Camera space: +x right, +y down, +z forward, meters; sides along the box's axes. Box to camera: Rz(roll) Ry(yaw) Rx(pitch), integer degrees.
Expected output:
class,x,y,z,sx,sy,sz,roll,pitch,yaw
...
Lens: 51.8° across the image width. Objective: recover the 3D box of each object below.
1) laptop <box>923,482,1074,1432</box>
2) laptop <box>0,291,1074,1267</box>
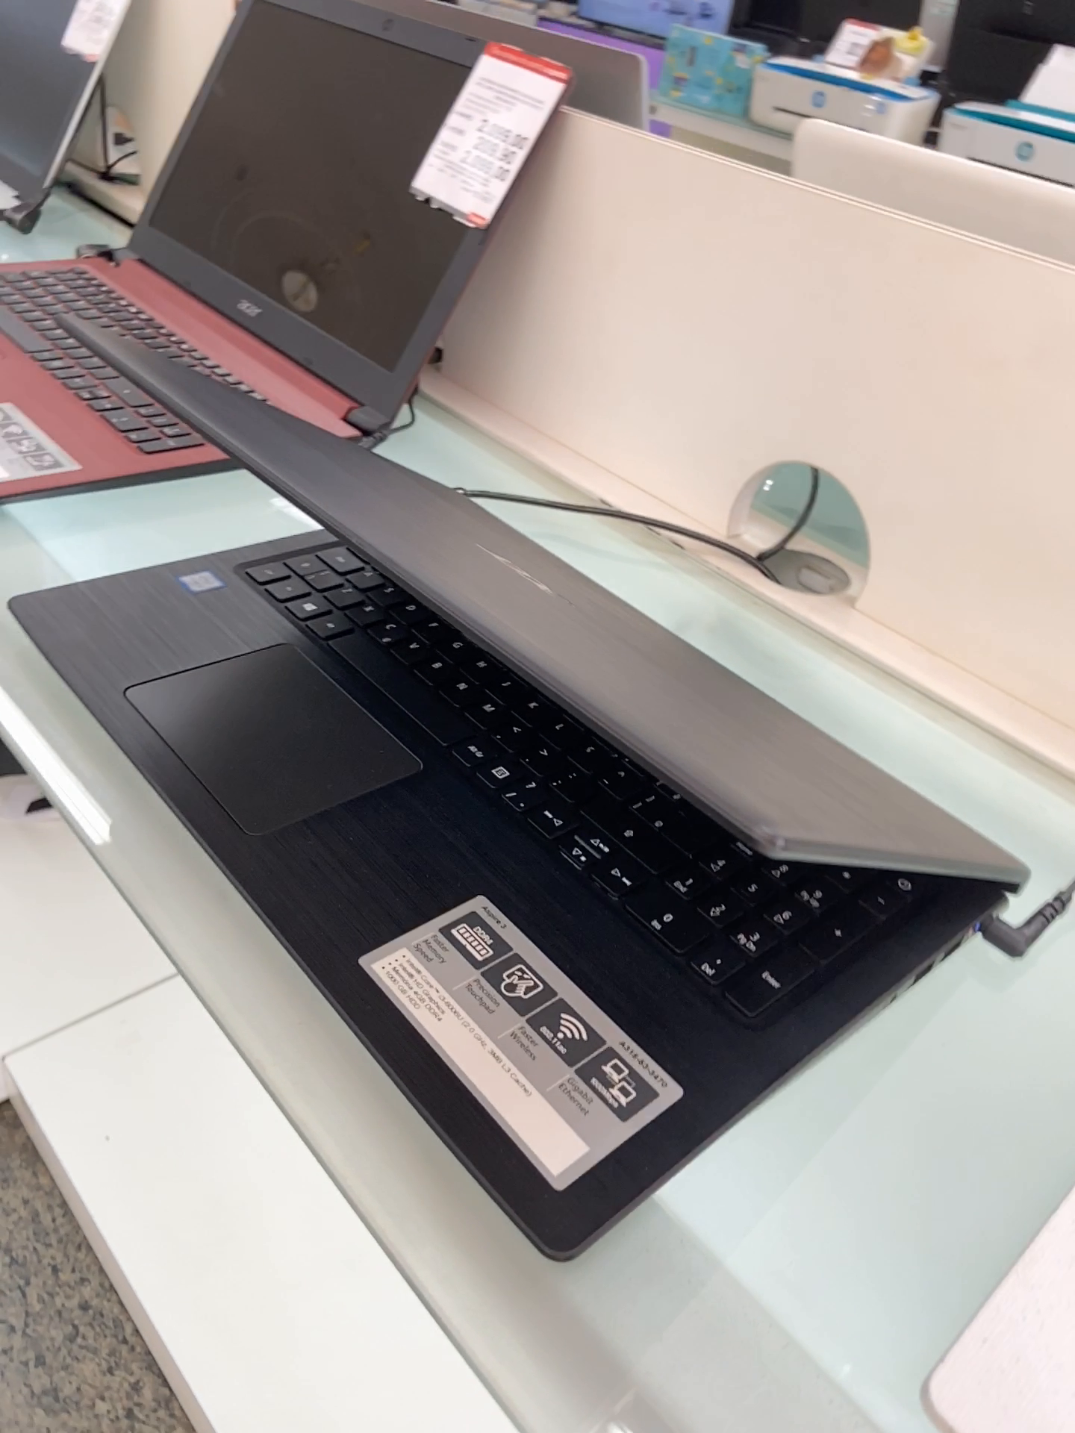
class,x,y,z,sx,sy,sz,roll,pitch,yaw
laptop,0.360,0.142,0.231,0.352,0.165,0.382,-24,49,-38
laptop,-0.021,-0.040,0.430,0.240,0.123,0.379,-21,45,-36
